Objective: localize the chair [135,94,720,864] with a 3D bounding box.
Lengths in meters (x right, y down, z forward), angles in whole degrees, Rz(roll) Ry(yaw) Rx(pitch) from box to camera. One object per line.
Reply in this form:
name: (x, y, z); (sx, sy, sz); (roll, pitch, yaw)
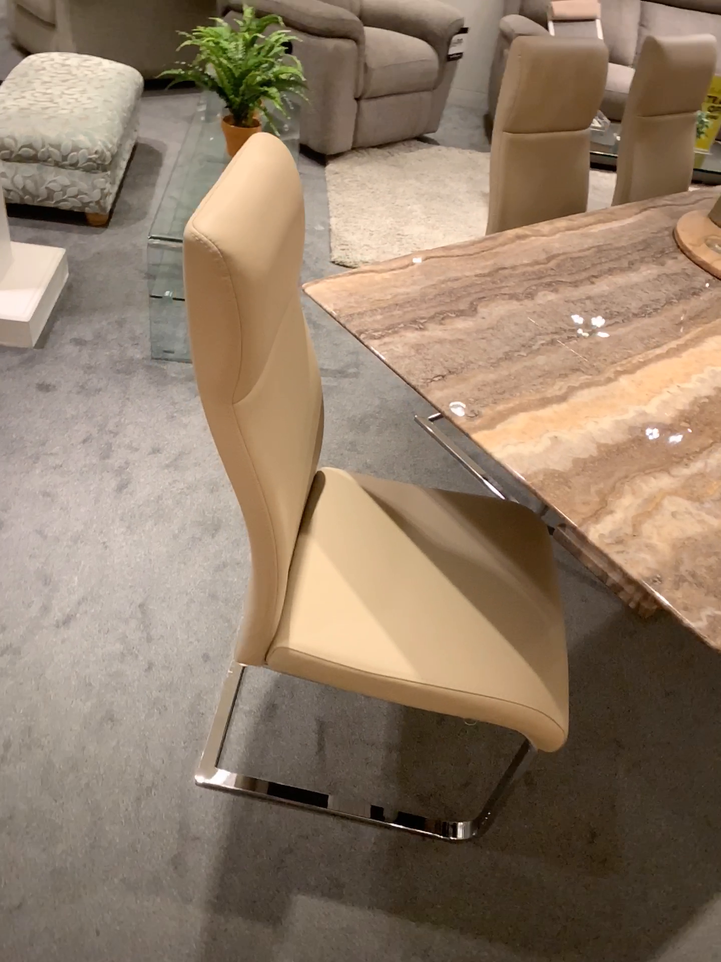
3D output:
chair: (0.052, 0.066, 1.128); (0.583, 0.982, 0.532); (12, 41, -1)
